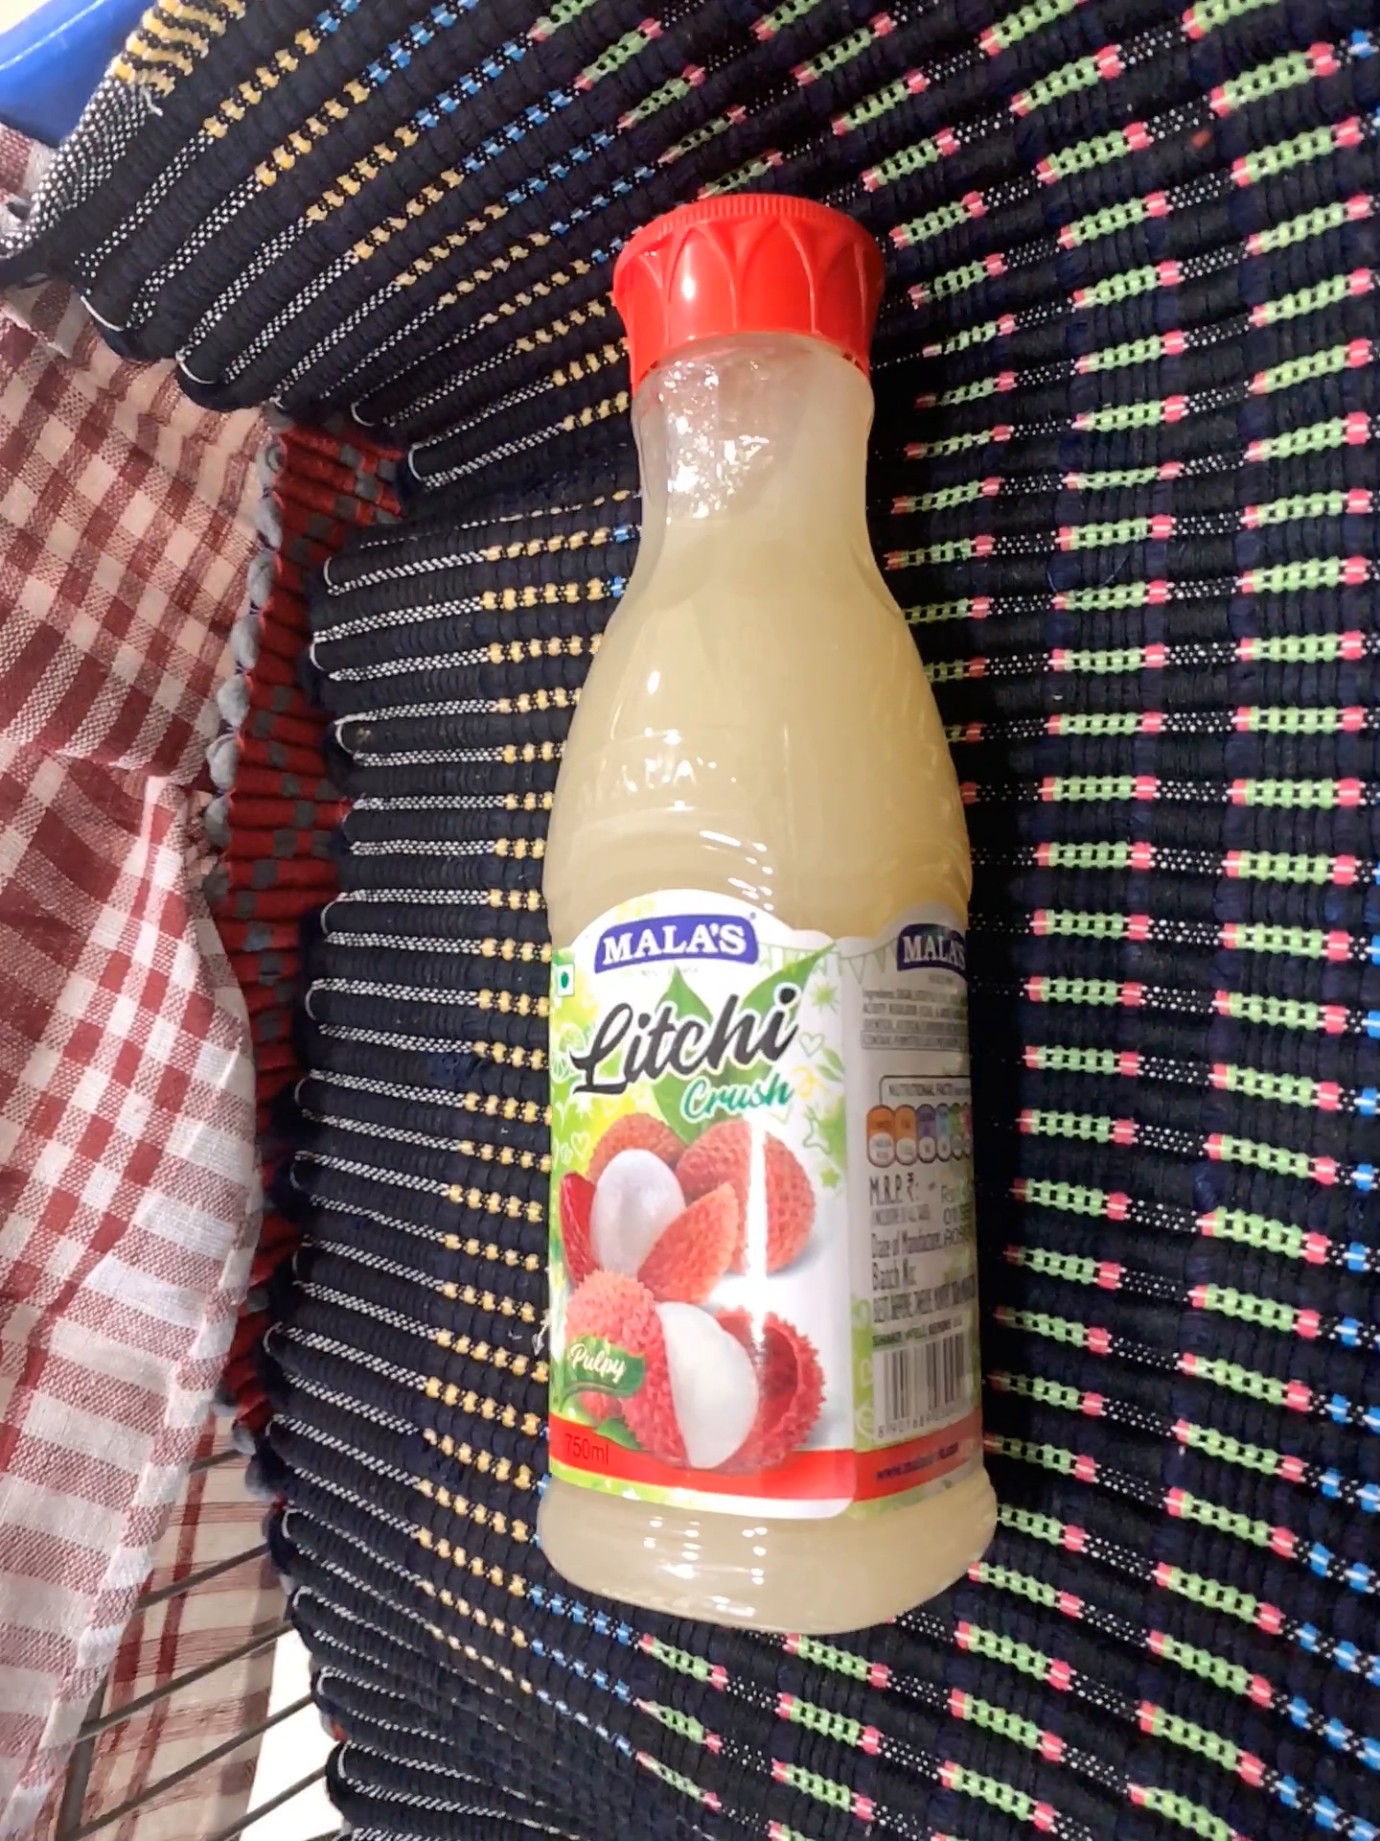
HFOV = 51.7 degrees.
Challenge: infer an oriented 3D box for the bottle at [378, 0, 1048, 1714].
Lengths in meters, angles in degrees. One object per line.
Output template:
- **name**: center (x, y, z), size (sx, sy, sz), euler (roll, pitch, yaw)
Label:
- **bottle**: center (0.004, -0.023, 0.250), size (0.080, 0.080, 0.260), euler (-5, 83, 34)
